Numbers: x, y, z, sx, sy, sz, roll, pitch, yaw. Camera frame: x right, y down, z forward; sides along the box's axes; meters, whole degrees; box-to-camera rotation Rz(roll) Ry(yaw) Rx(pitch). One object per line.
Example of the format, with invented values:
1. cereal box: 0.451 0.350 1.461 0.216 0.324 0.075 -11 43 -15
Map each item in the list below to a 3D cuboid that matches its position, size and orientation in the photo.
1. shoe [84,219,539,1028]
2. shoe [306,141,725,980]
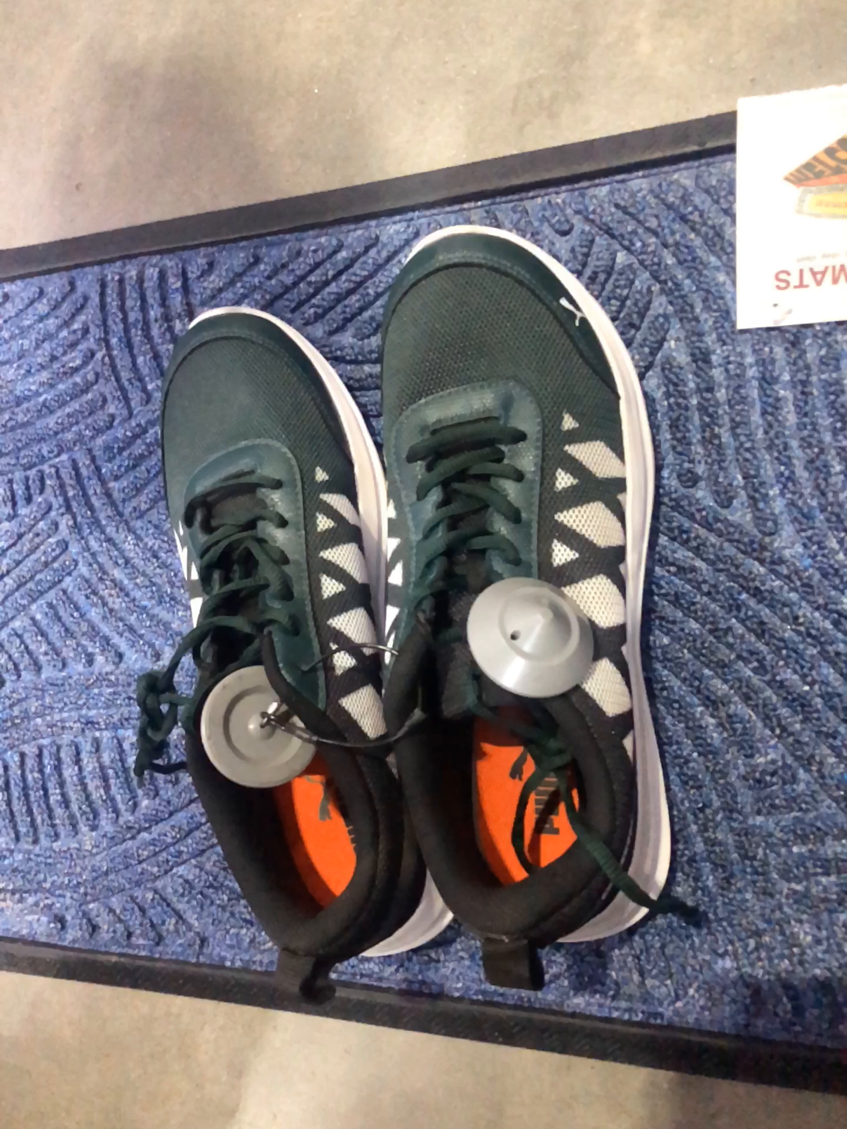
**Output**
1. shoe: -0.052 0.023 0.407 0.110 0.060 0.310 -18 81 19
2. shoe: 0.035 0.002 0.368 0.120 0.060 0.290 -8 84 20
